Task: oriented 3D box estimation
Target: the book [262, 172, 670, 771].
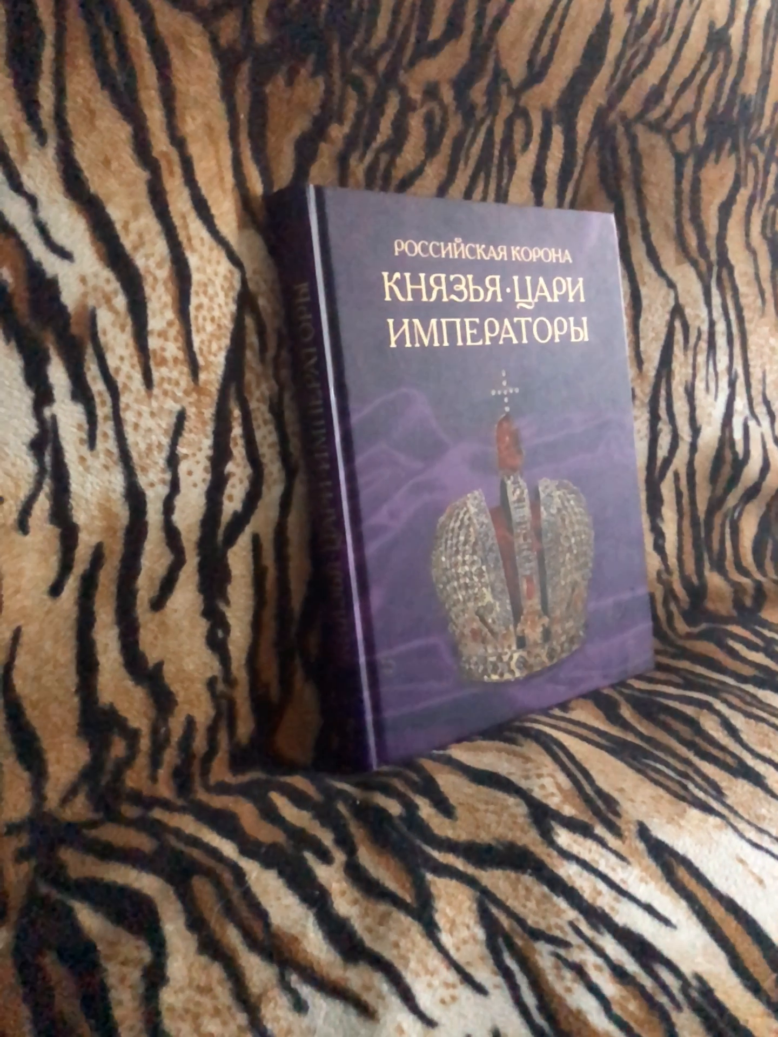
[{"bbox_3d":[0.056,-0.035,0.474,0.223,0.280,0.035,-10,6,-33],"label":"book"}]
